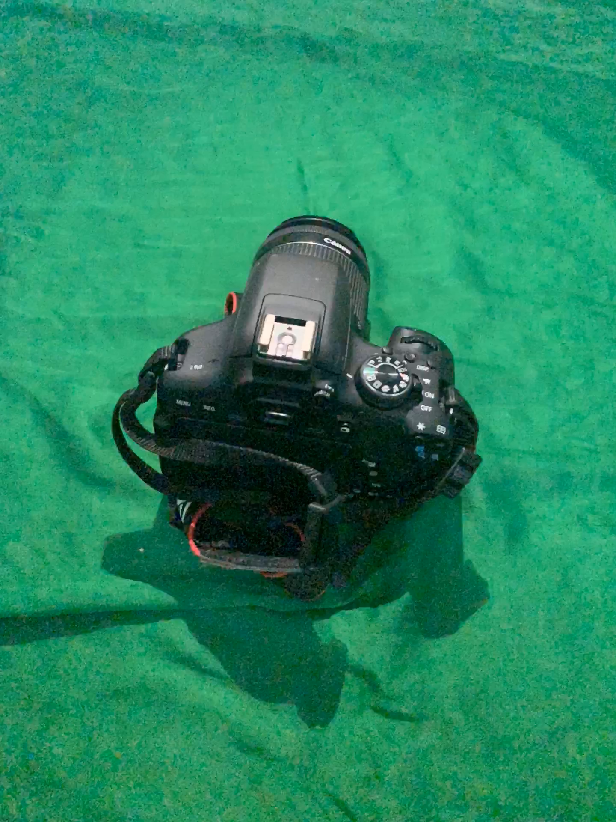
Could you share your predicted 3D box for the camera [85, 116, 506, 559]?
[{"bbox_3d":[0.005,-0.042,0.322,0.152,0.100,0.191,6,57,4],"label":"camera"}]
